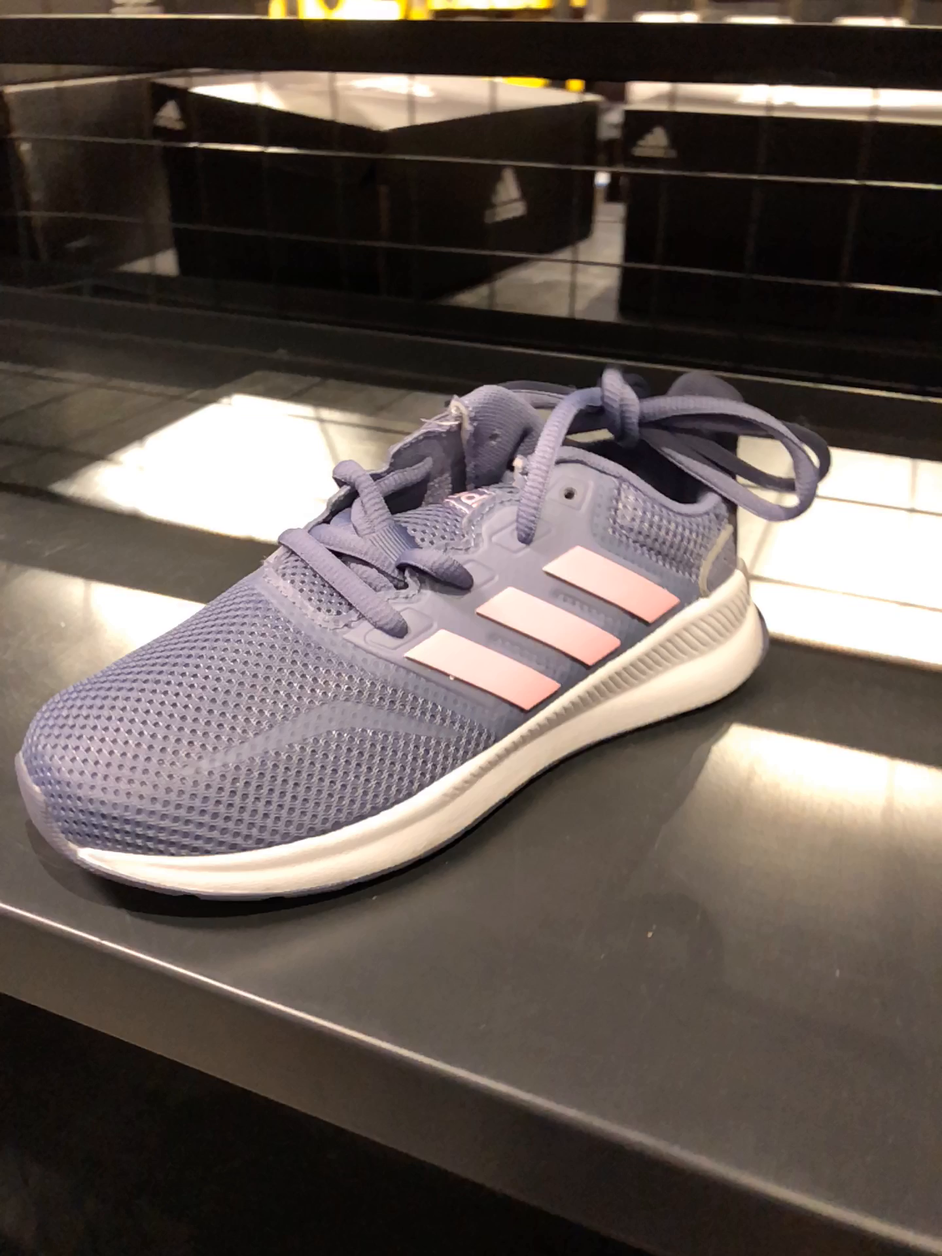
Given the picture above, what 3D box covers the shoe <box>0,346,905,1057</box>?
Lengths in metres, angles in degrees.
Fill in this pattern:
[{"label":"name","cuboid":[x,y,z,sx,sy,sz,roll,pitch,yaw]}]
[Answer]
[{"label":"shoe","cuboid":[-0.001,-0.002,0.278,0.220,0.090,0.090,-19,36,-29]}]
